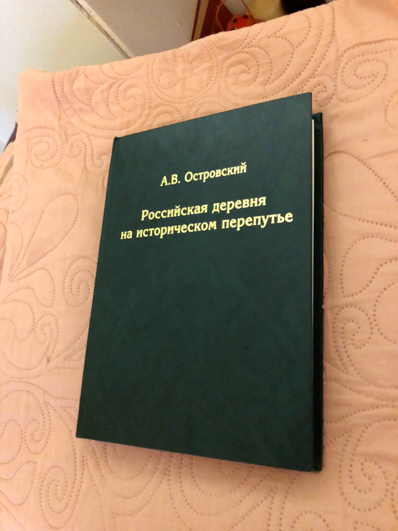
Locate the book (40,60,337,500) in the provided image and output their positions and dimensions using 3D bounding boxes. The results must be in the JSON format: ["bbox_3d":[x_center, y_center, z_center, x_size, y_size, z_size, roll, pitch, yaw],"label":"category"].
[{"bbox_3d":[-0.007,0.003,0.291,0.180,0.040,0.240,-4,72,28],"label":"book"}]
